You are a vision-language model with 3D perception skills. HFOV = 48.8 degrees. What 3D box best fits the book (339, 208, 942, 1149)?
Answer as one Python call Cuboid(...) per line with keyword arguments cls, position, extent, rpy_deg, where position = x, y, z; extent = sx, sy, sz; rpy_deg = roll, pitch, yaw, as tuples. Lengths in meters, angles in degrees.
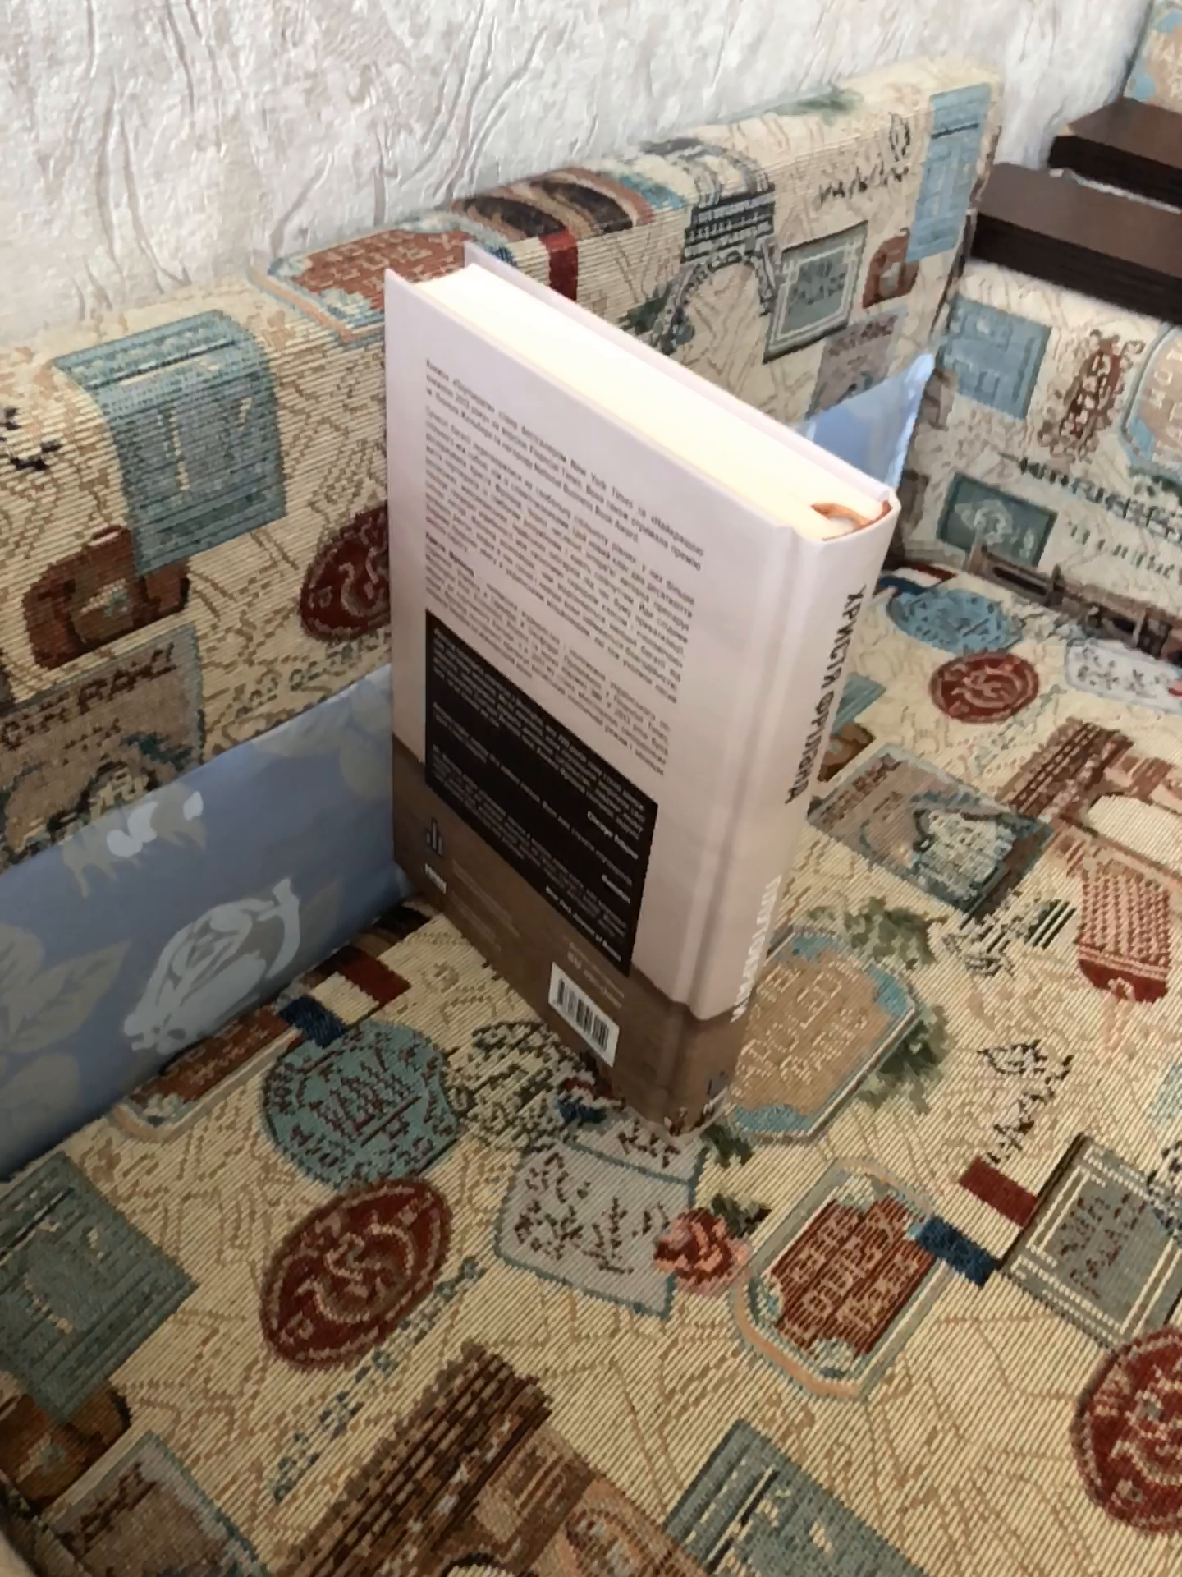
Cuboid(cls="book", position=(-0.005, -0.025, 0.380), extent=(0.040, 0.218, 0.171), rpy_deg=(-27, 53, -30))
